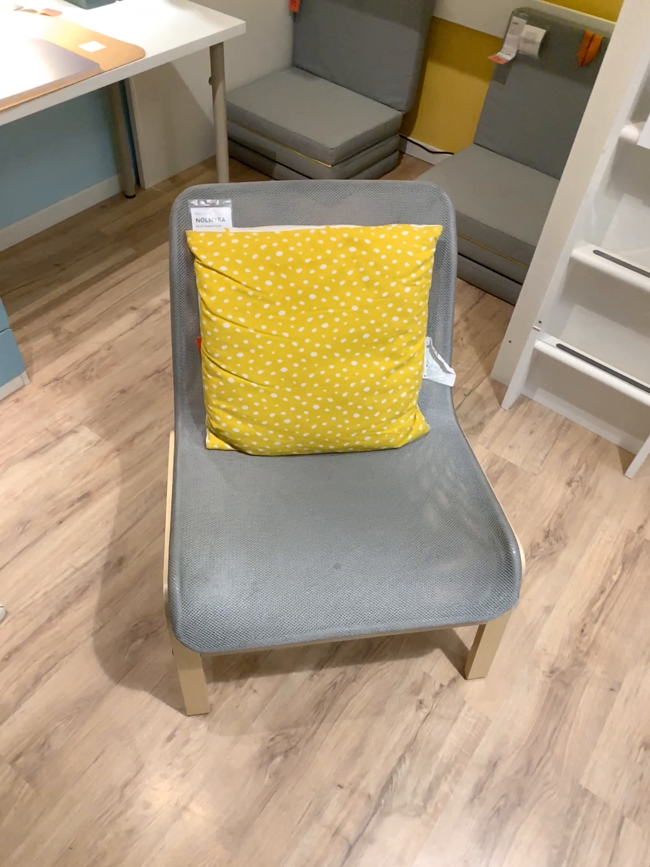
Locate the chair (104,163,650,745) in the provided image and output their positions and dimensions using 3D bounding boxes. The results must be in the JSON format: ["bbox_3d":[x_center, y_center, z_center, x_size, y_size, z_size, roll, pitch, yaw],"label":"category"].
[{"bbox_3d":[0.024,0.028,1.151,0.630,0.708,0.672,-4,47,-9],"label":"chair"}]
